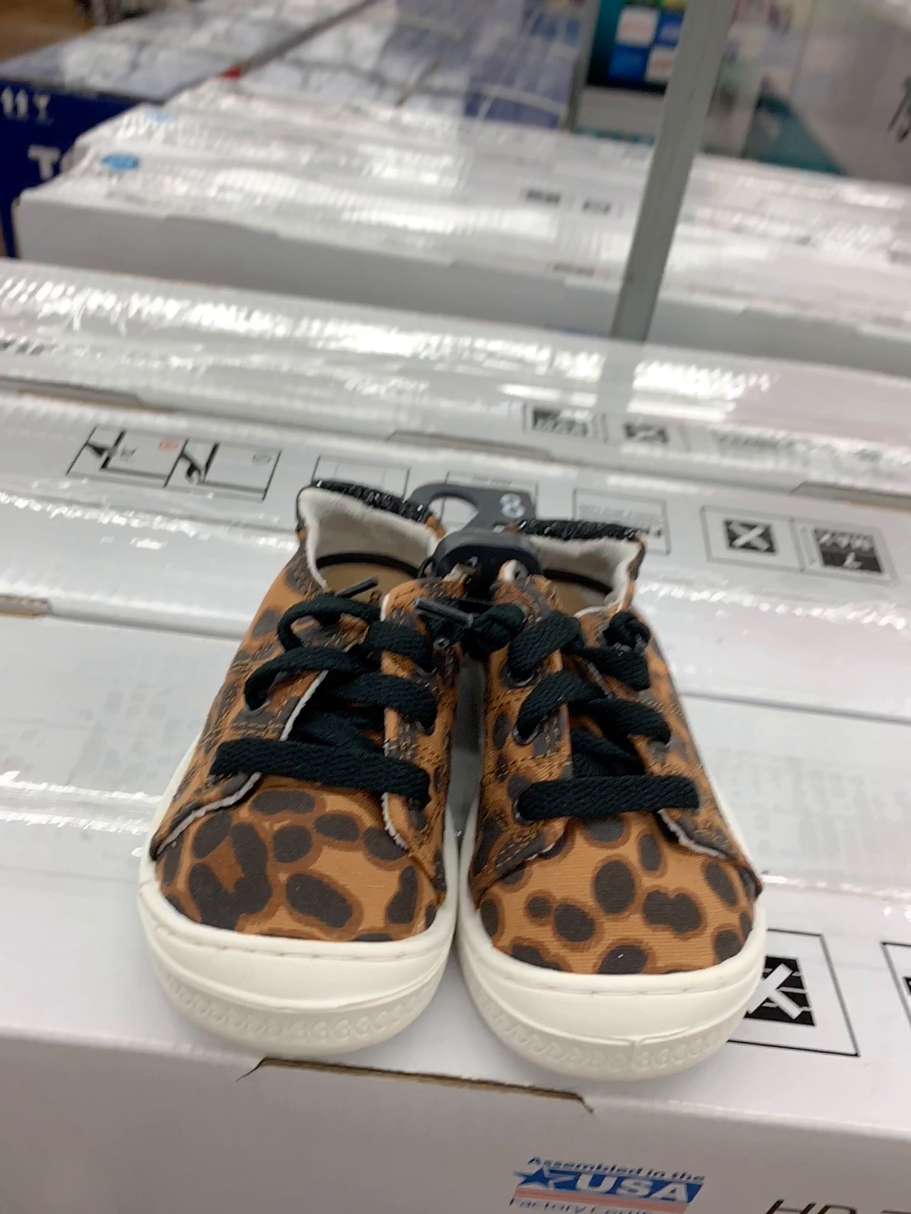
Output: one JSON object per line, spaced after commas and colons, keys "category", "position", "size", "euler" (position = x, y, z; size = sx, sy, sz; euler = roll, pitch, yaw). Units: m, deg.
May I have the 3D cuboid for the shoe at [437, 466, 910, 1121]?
{"category": "shoe", "position": [0.039, 0.029, 0.239], "size": [0.080, 0.040, 0.171], "euler": [5, 39, -4]}

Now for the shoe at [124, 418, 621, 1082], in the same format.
{"category": "shoe", "position": [-0.011, 0.016, 0.231], "size": [0.080, 0.040, 0.171], "euler": [7, 38, -2]}
